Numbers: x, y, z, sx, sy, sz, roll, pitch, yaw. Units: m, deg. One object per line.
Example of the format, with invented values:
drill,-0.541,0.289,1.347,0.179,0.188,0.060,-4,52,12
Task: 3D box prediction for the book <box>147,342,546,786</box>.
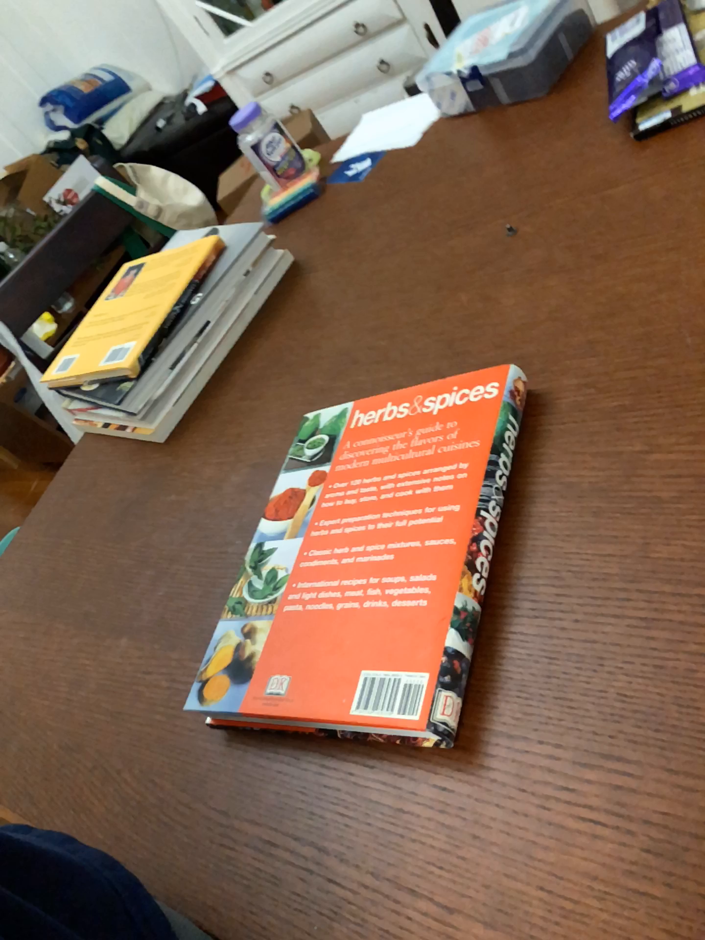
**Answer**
book,0.000,0.050,0.511,0.210,0.040,0.271,-10,48,38
